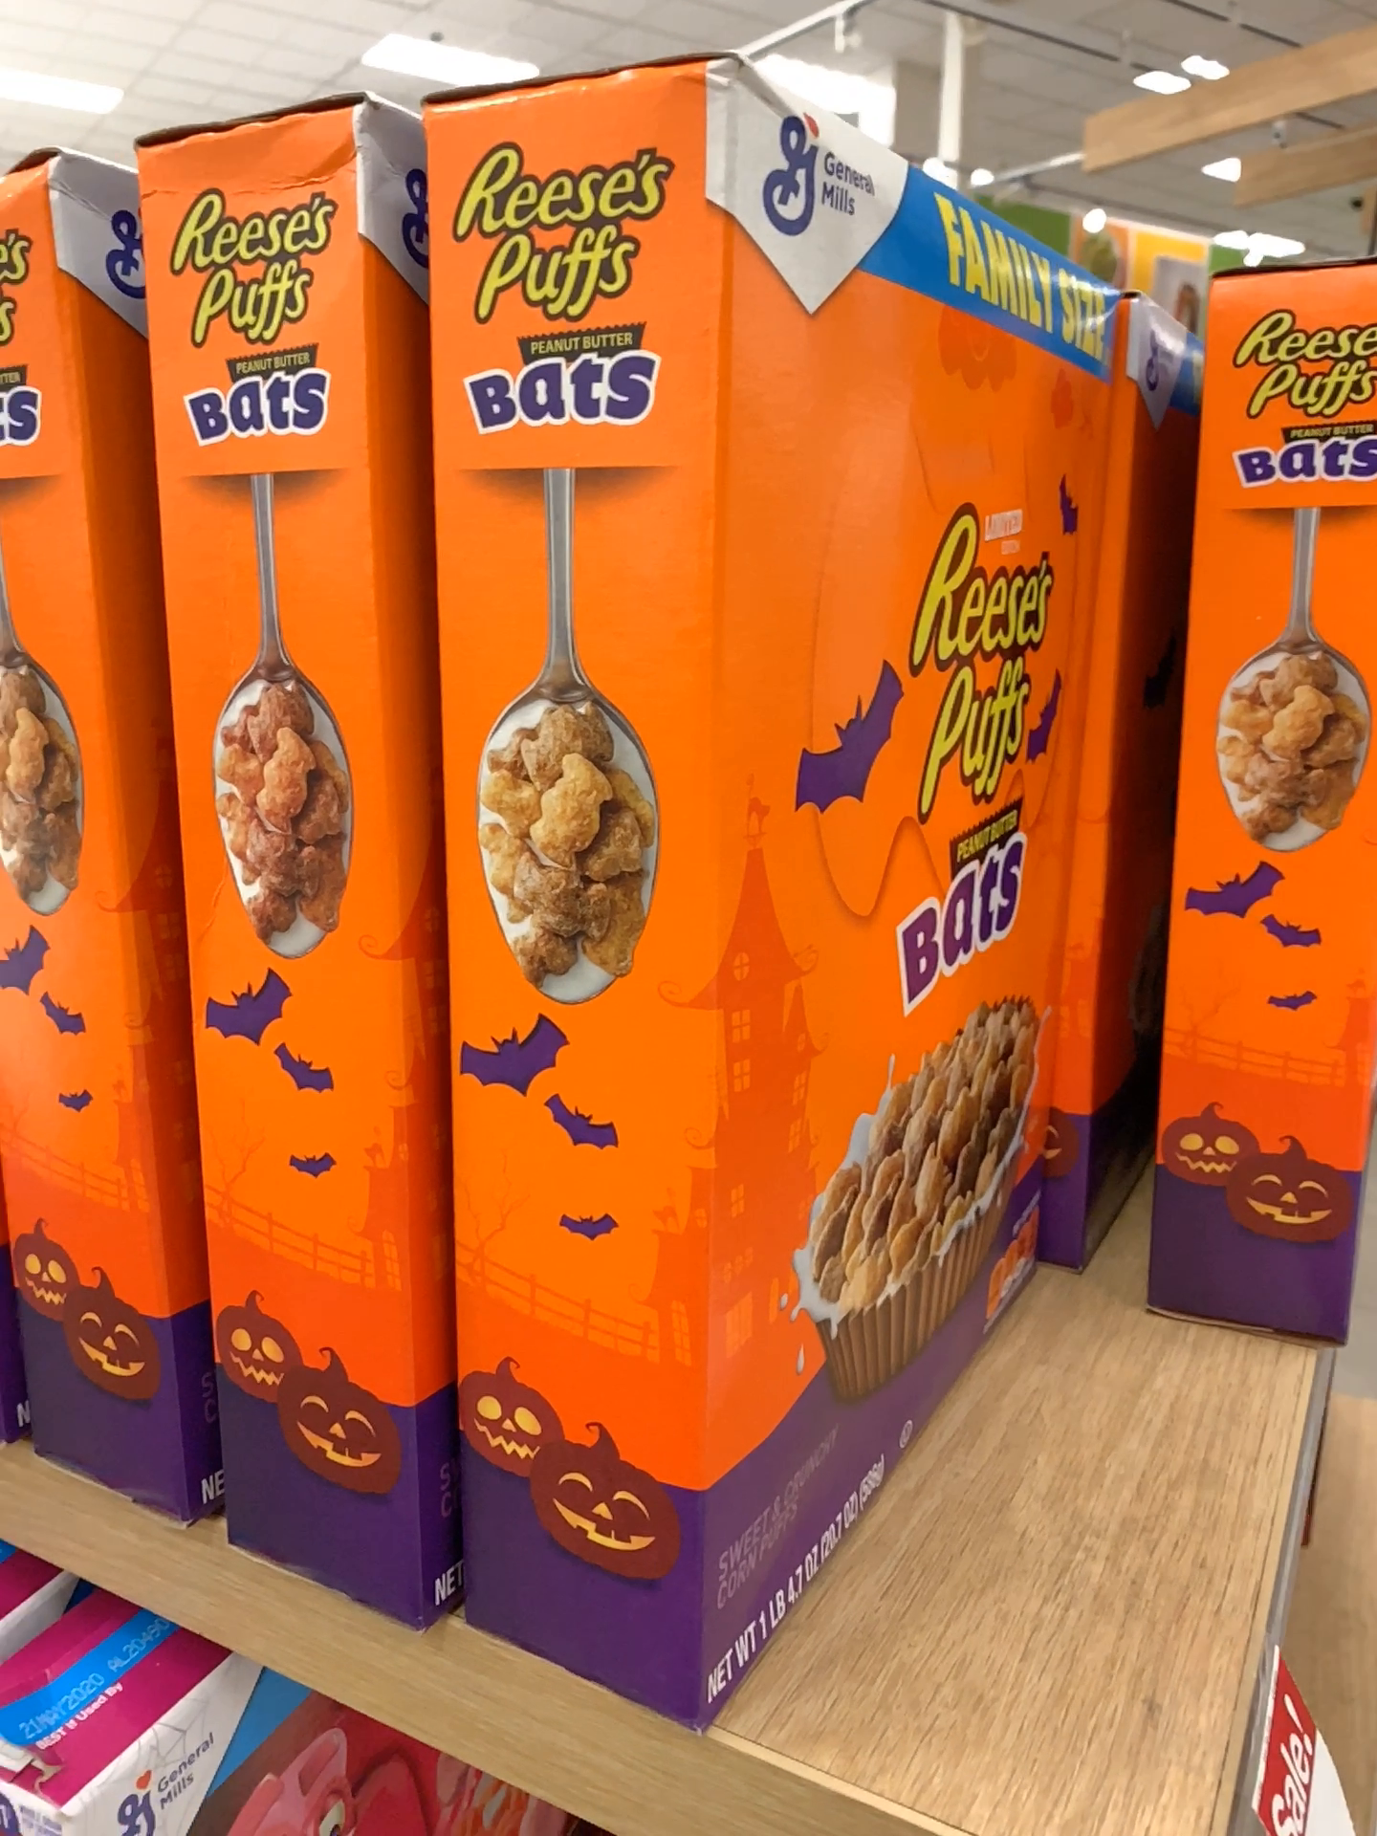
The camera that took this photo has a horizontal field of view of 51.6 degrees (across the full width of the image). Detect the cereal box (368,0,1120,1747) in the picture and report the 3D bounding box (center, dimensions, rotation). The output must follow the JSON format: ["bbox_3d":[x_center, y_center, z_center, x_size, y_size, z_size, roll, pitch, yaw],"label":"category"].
[{"bbox_3d":[0.033,-0.017,0.362,0.070,0.309,0.240,8,15,28],"label":"cereal box"}]
